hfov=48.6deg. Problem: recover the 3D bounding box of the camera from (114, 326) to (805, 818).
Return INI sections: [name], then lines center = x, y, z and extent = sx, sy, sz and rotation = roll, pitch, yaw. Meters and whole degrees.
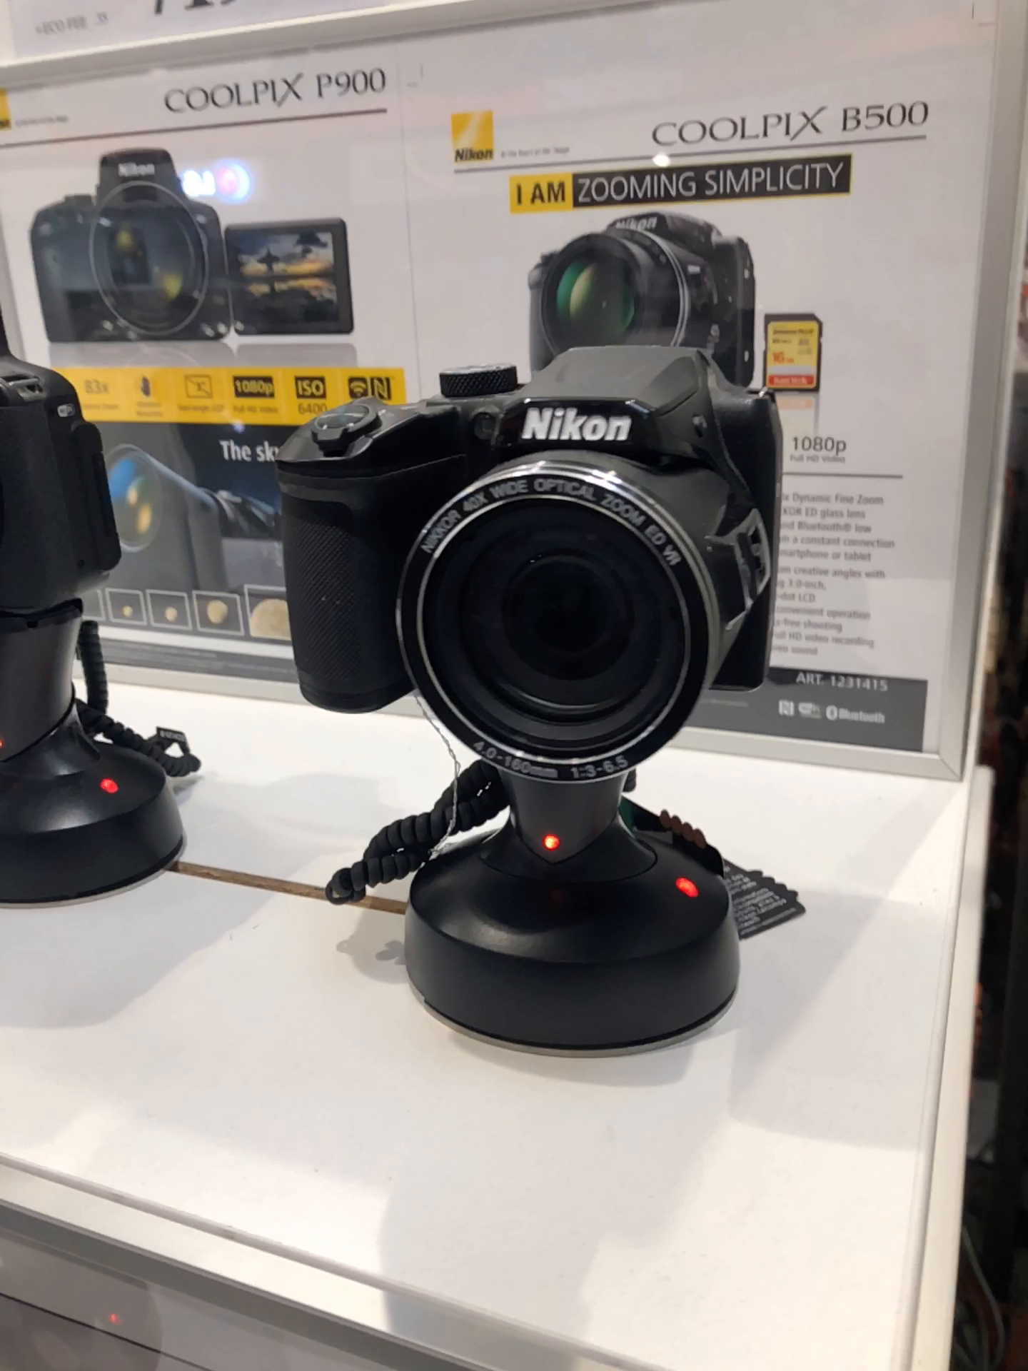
[camera]
center = -0.003, -0.033, 0.251
extent = 0.120, 0.080, 0.090
rotation = 4, 21, 19
